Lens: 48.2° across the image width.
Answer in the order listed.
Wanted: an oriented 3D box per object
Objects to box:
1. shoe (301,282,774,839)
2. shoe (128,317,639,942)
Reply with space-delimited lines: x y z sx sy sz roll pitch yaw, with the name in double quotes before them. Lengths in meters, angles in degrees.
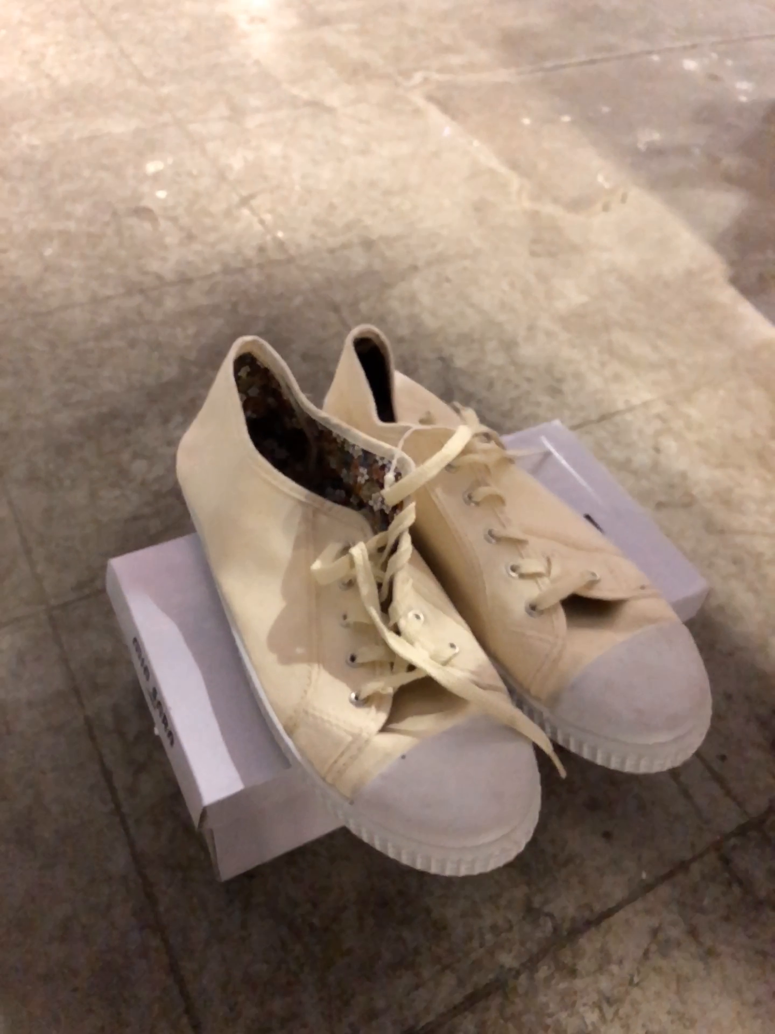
"shoe" 0.060 0.001 0.405 0.100 0.079 0.251 -20 53 -23
"shoe" -0.021 0.027 0.379 0.090 0.079 0.261 -20 53 -23
